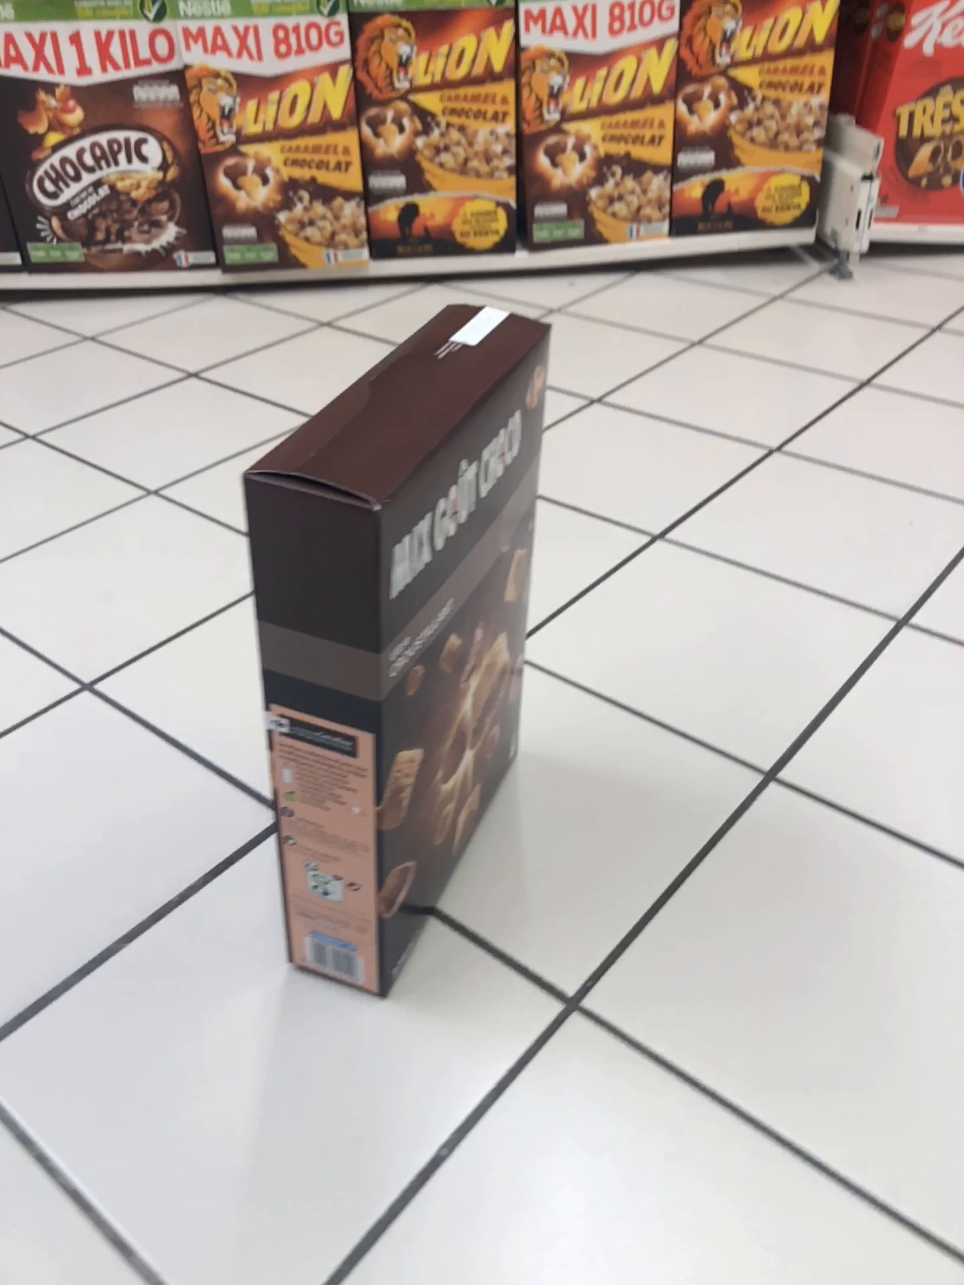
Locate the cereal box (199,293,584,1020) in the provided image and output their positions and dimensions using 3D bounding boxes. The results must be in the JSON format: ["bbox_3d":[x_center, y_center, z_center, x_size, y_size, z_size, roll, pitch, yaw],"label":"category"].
[{"bbox_3d":[-0.028,0.003,0.505,0.080,0.268,0.201,13,37,15],"label":"cereal box"}]
